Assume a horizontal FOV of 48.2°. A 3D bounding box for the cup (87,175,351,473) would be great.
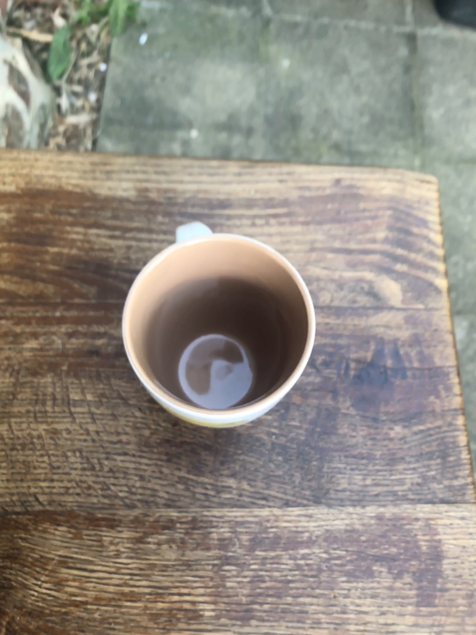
[{"bbox_3d":[-0.015,0.009,0.290,0.093,0.090,0.123,-14,74,-9],"label":"cup"}]
